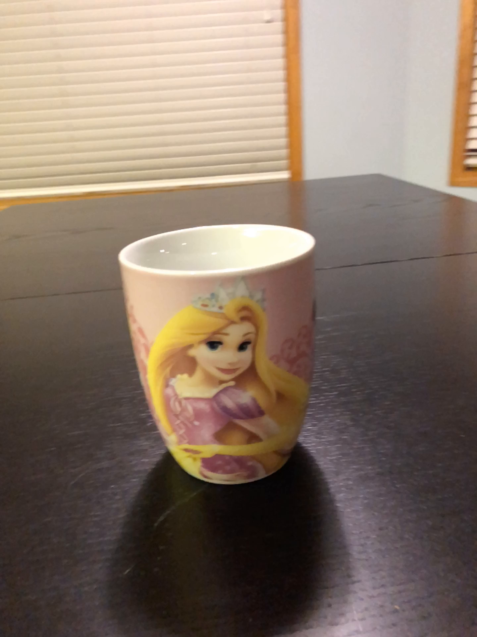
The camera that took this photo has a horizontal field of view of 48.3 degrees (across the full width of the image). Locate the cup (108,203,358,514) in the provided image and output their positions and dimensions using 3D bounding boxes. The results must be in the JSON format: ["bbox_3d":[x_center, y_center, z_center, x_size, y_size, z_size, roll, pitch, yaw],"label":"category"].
[{"bbox_3d":[-0.009,0.006,0.260,0.090,0.100,0.121,-7,21,-9],"label":"cup"}]
